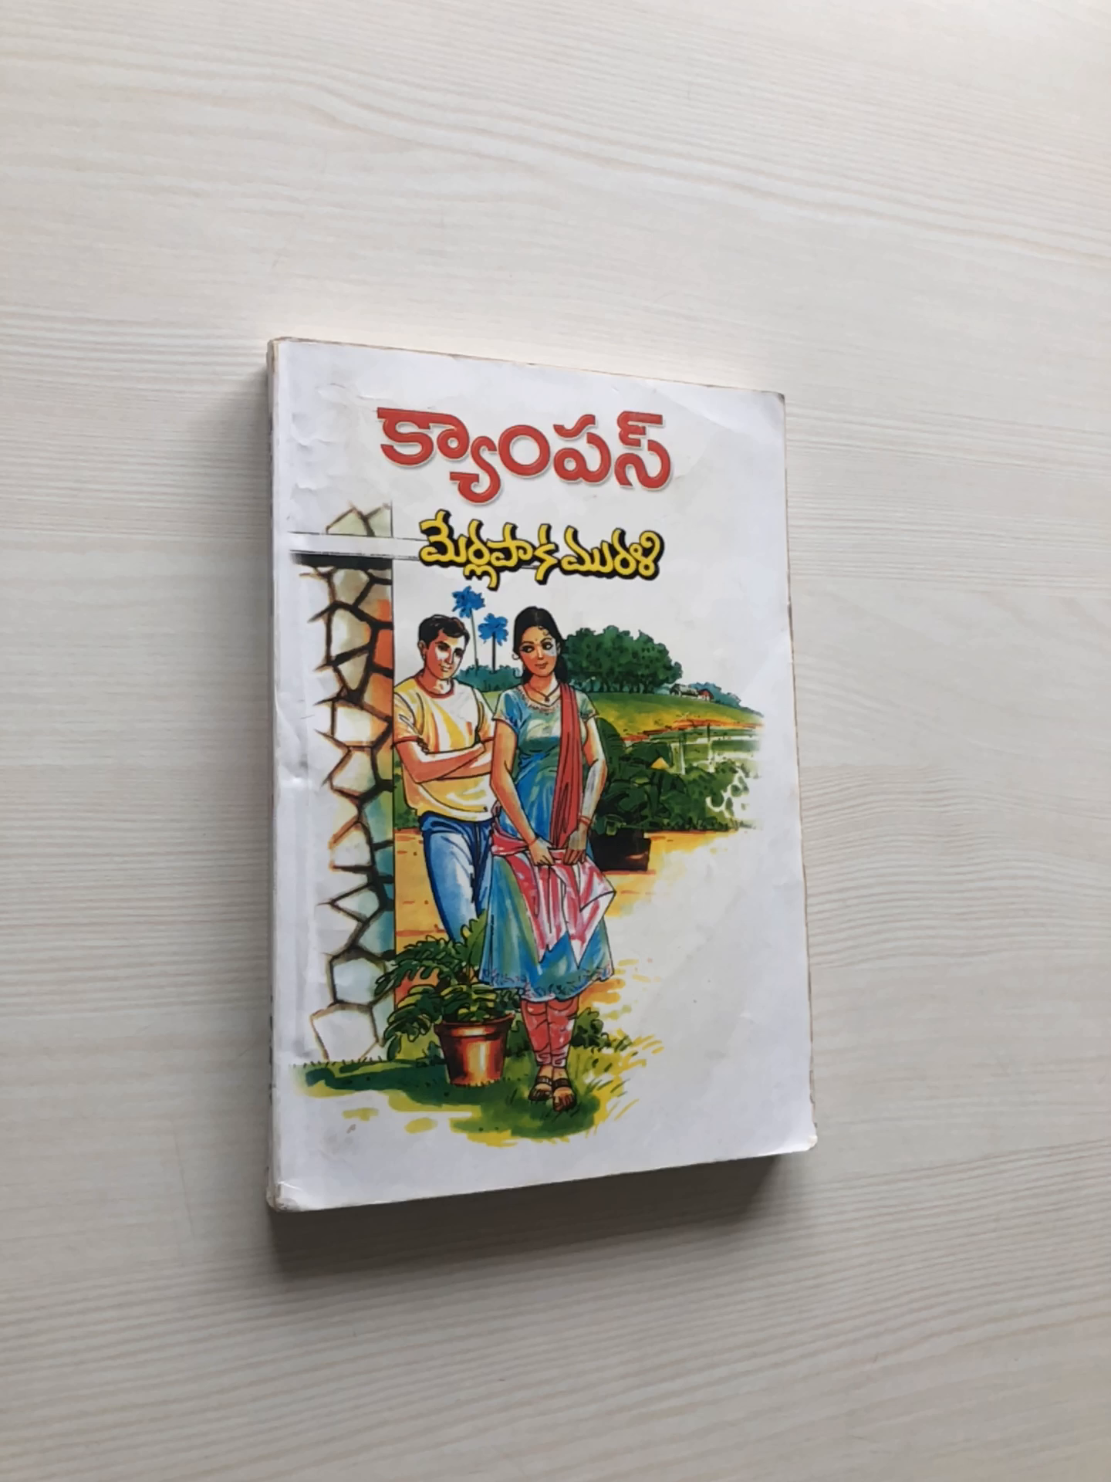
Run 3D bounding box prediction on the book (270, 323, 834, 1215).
[{"bbox_3d":[0.000,0.004,0.253,0.113,0.016,0.164,0,85,-20],"label":"book"}]
